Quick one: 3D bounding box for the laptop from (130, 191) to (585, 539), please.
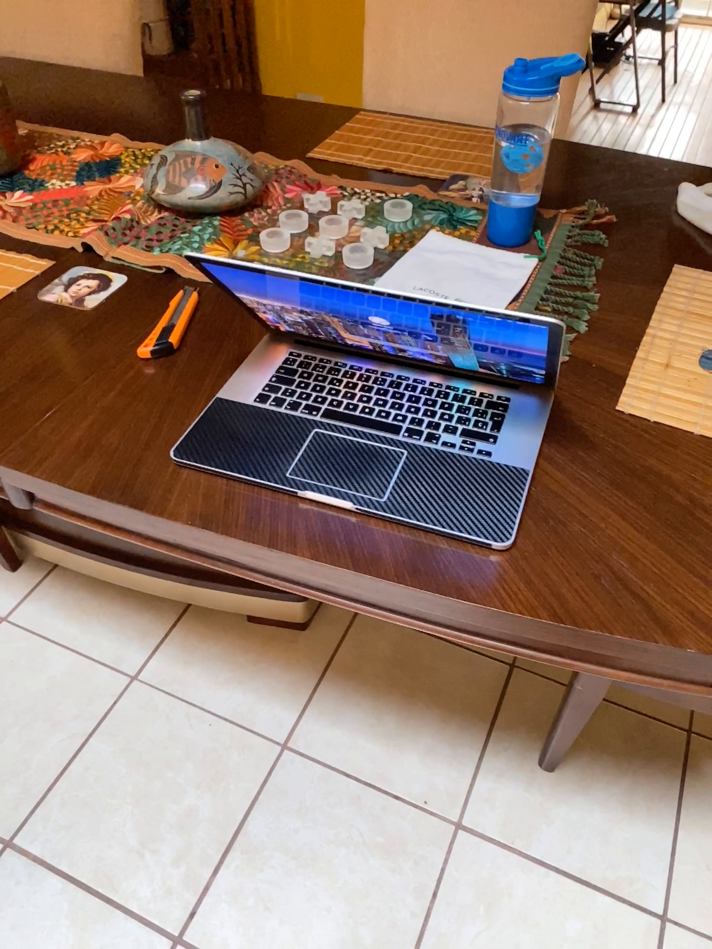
[{"bbox_3d":[0.013,-0.124,0.724,0.354,0.181,0.237,14,45,14],"label":"laptop"}]
